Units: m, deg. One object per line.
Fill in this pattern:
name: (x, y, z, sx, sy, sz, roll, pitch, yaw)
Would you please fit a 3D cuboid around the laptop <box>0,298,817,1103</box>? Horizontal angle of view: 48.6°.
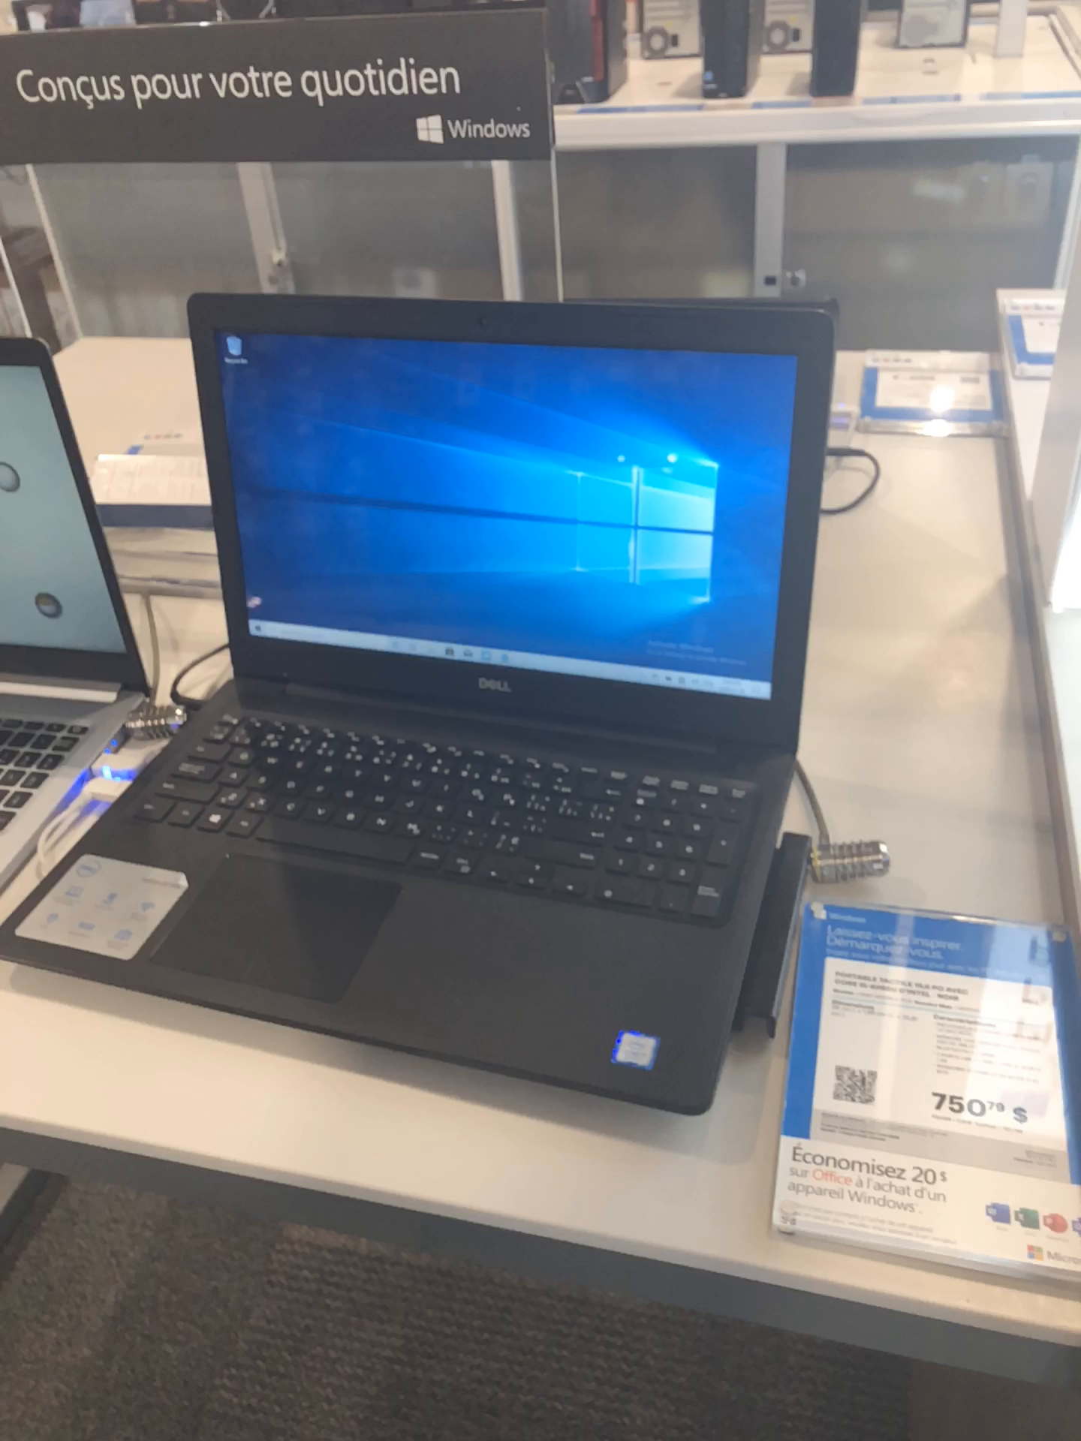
laptop: (-0.071, -0.045, 0.611, 0.368, 0.230, 0.311, 8, 38, 16)
